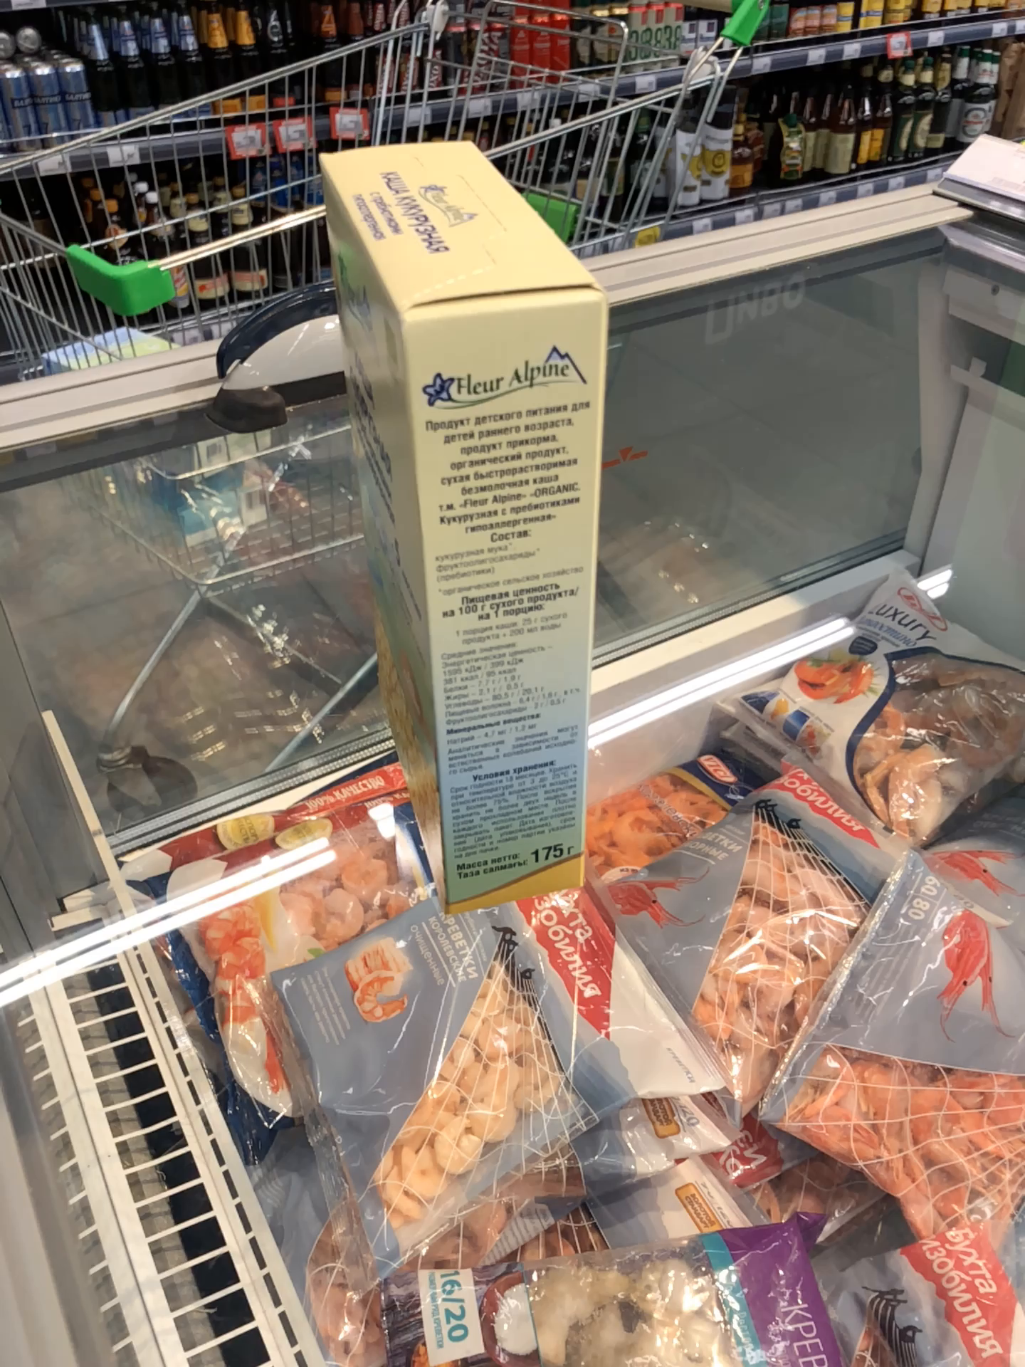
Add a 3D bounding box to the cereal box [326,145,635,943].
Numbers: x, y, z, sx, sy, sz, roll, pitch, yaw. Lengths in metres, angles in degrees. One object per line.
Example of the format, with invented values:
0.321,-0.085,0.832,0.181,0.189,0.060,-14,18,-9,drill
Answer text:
-0.014,-0.040,0.357,0.050,0.209,0.131,-10,40,-12,cereal box
